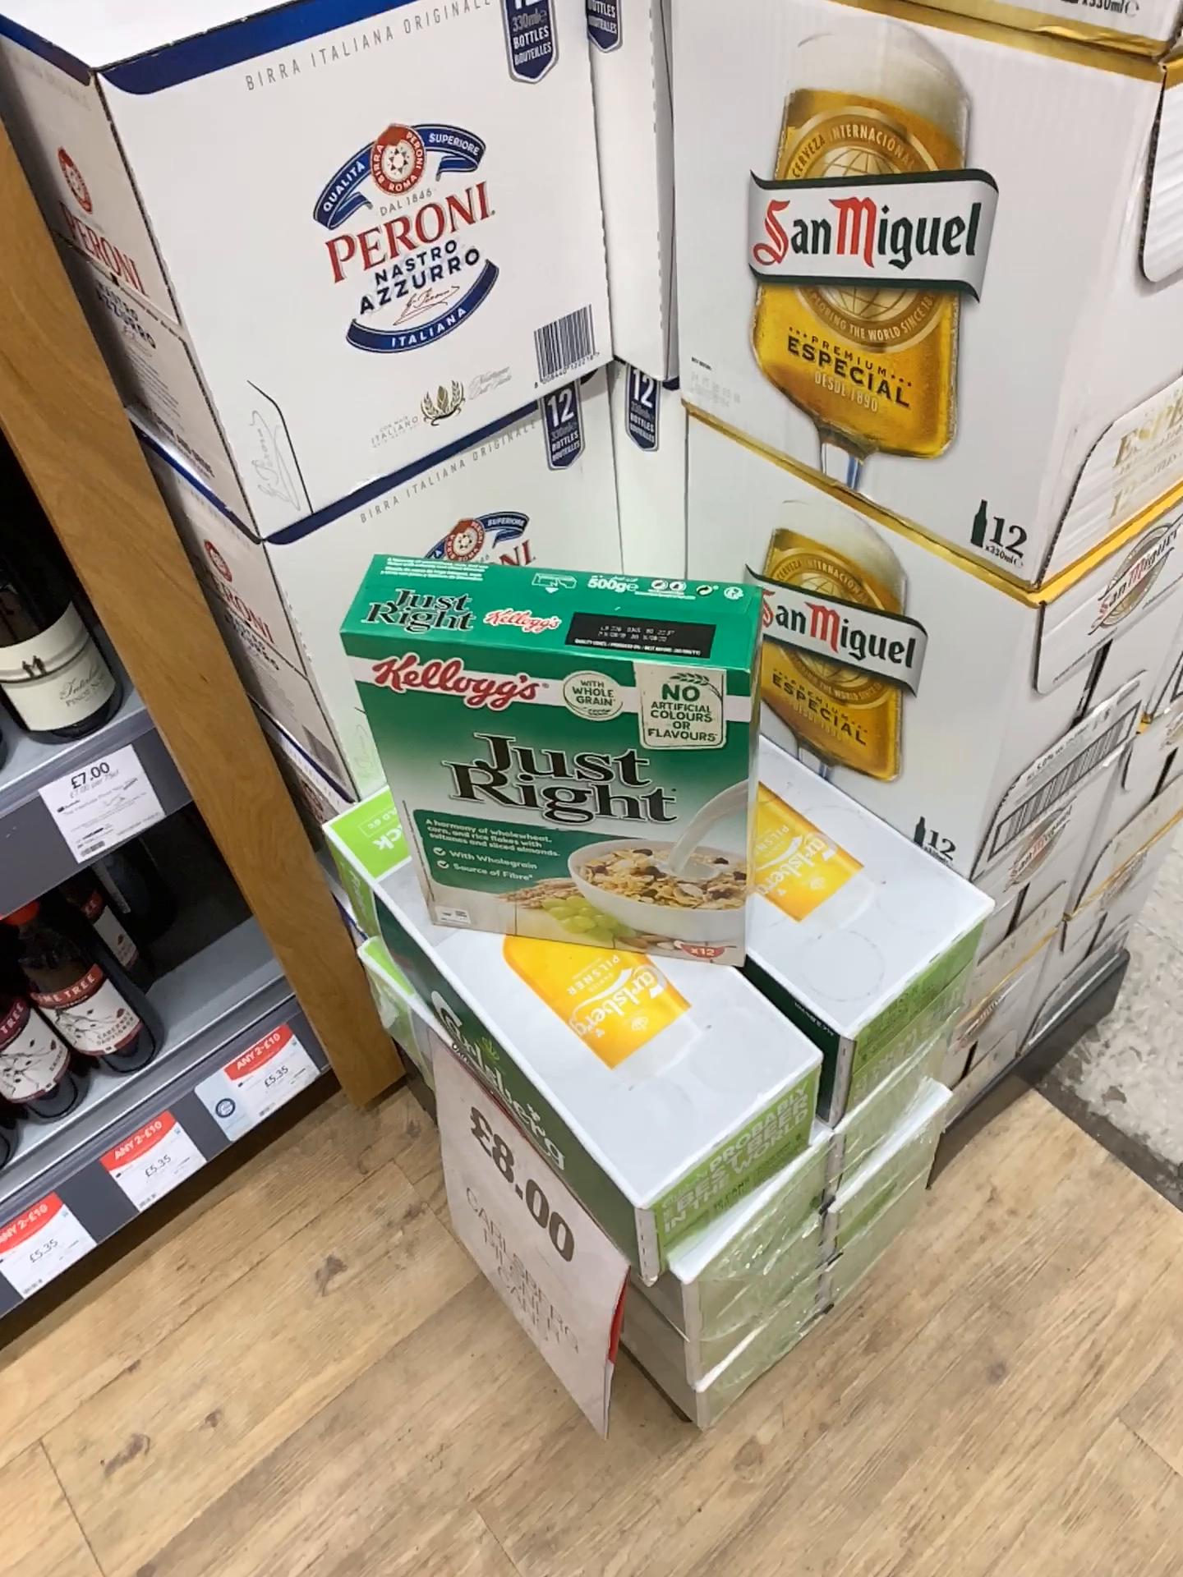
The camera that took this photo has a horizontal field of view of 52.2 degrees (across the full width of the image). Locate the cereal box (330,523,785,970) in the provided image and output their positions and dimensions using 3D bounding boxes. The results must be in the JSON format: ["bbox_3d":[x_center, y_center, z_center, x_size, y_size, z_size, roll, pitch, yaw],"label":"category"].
[{"bbox_3d":[-0.004,-0.013,0.621,0.190,0.238,0.071,6,51,12],"label":"cereal box"}]
